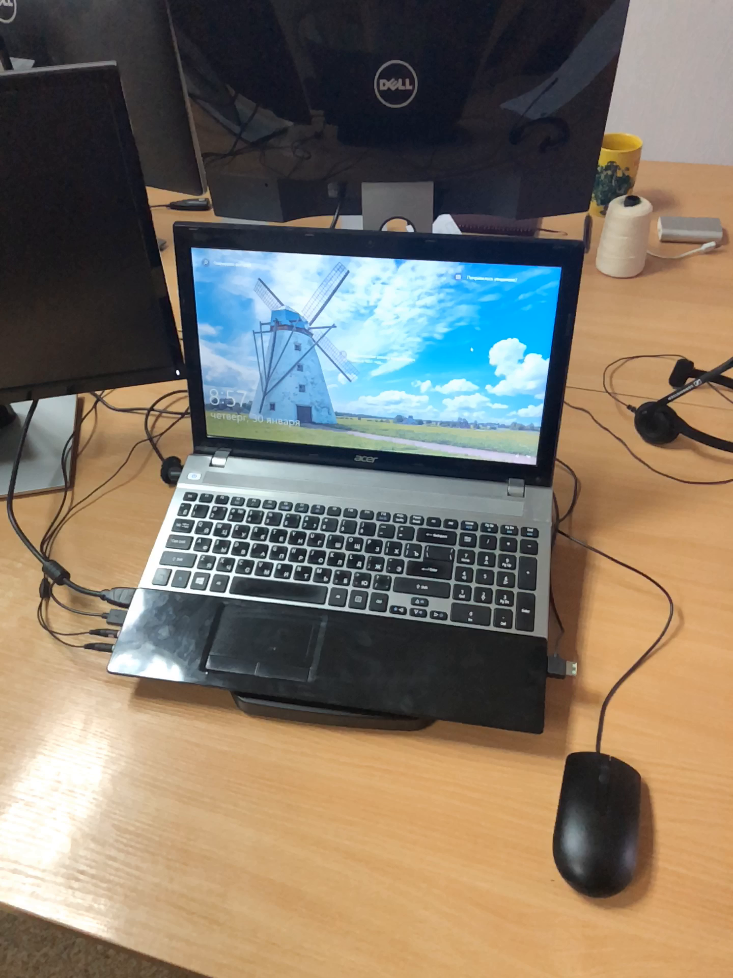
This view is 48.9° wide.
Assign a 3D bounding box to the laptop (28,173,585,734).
[{"bbox_3d":[-0.018,-0.049,0.700,0.373,0.211,0.361,6,54,8],"label":"laptop"}]
